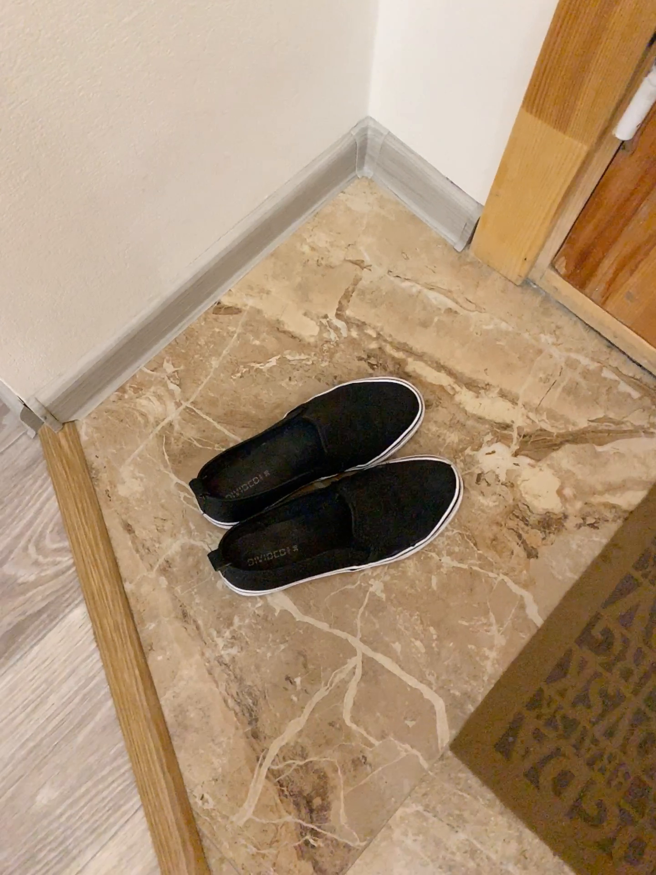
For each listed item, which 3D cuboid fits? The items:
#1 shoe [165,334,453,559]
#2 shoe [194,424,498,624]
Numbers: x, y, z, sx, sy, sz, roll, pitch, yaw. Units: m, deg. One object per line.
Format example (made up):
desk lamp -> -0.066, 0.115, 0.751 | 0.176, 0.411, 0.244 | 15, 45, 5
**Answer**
shoe -> -0.015, 0.008, 0.638 | 0.250, 0.060, 0.090 | -29, 74, -11
shoe -> 0.016, 0.079, 0.616 | 0.250, 0.060, 0.090 | -20, 73, -8
